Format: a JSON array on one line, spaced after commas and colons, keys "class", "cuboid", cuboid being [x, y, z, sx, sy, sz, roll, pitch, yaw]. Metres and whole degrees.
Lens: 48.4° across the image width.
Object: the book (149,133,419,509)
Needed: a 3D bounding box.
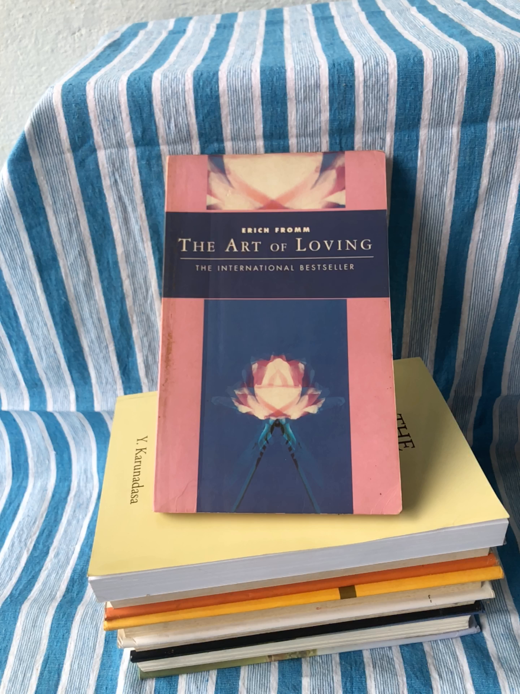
[{"class": "book", "cuboid": [0.011, -0.016, 0.302, 0.129, 0.015, 0.193, -1, 78, 6]}]
